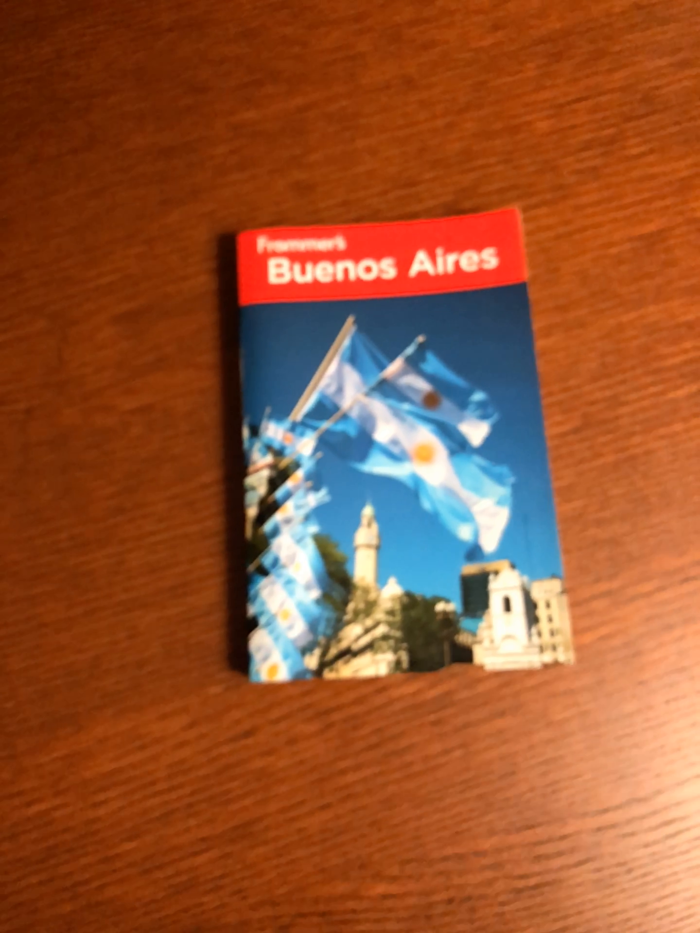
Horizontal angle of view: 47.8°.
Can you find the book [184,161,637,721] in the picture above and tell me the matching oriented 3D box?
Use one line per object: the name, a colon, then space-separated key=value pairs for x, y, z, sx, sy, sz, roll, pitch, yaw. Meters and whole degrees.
book: x=0.017 y=-0.017 z=0.328 sx=0.160 sy=0.020 sz=0.220 roll=-5 pitch=76 yaw=1
